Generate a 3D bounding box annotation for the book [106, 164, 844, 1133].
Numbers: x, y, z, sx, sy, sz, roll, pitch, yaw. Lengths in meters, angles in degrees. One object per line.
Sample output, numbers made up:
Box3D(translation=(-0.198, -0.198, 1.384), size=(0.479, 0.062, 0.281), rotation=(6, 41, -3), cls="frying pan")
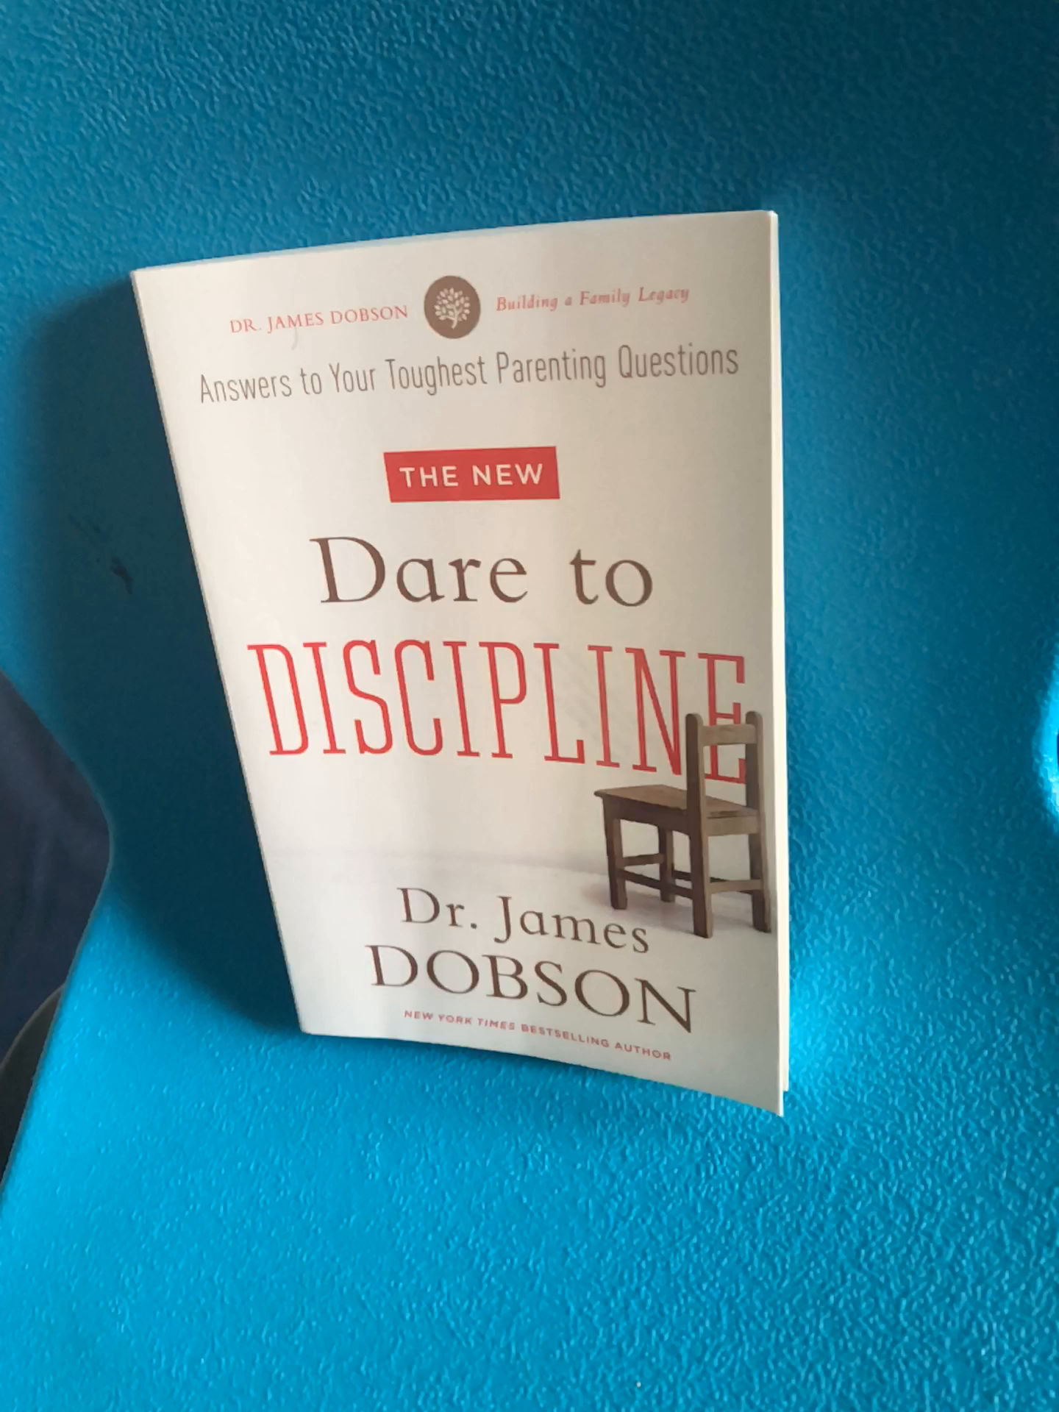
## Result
Box3D(translation=(-0.007, -0.009, 0.276), size=(0.150, 0.199, 0.040), rotation=(3, 20, 20), cls="book")
